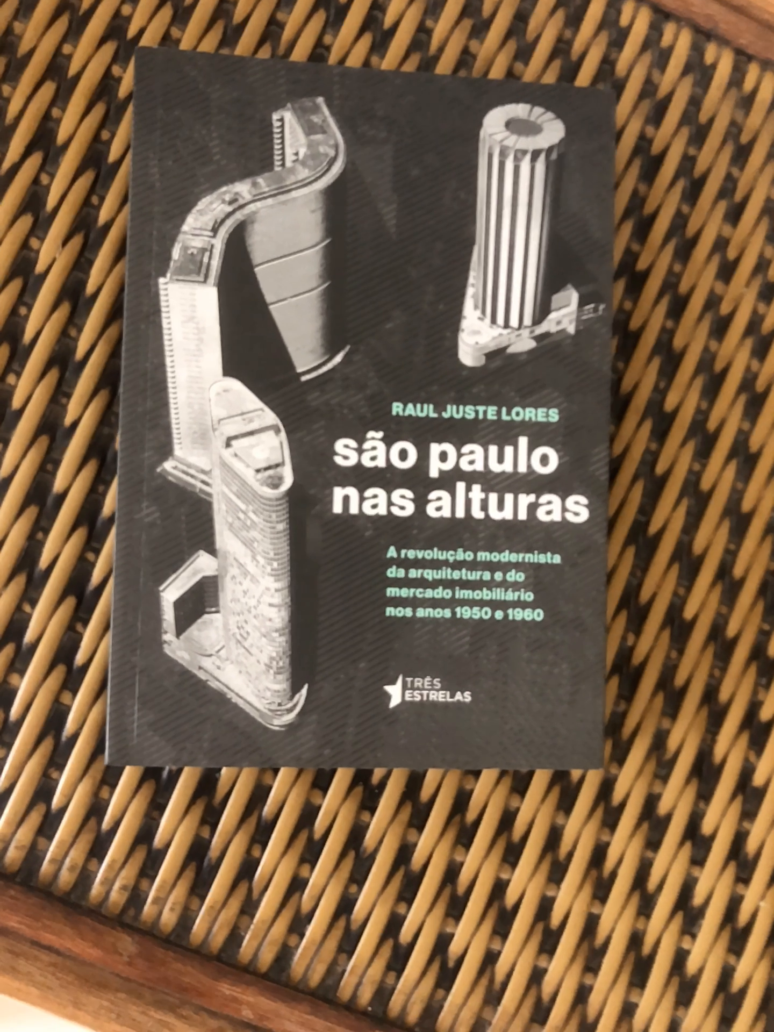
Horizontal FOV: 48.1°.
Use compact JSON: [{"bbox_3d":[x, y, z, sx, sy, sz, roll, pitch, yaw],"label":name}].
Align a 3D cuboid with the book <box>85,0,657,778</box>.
[{"bbox_3d":[-0.003,-0.034,0.270,0.160,0.030,0.221,2,90,-7],"label":"book"}]
